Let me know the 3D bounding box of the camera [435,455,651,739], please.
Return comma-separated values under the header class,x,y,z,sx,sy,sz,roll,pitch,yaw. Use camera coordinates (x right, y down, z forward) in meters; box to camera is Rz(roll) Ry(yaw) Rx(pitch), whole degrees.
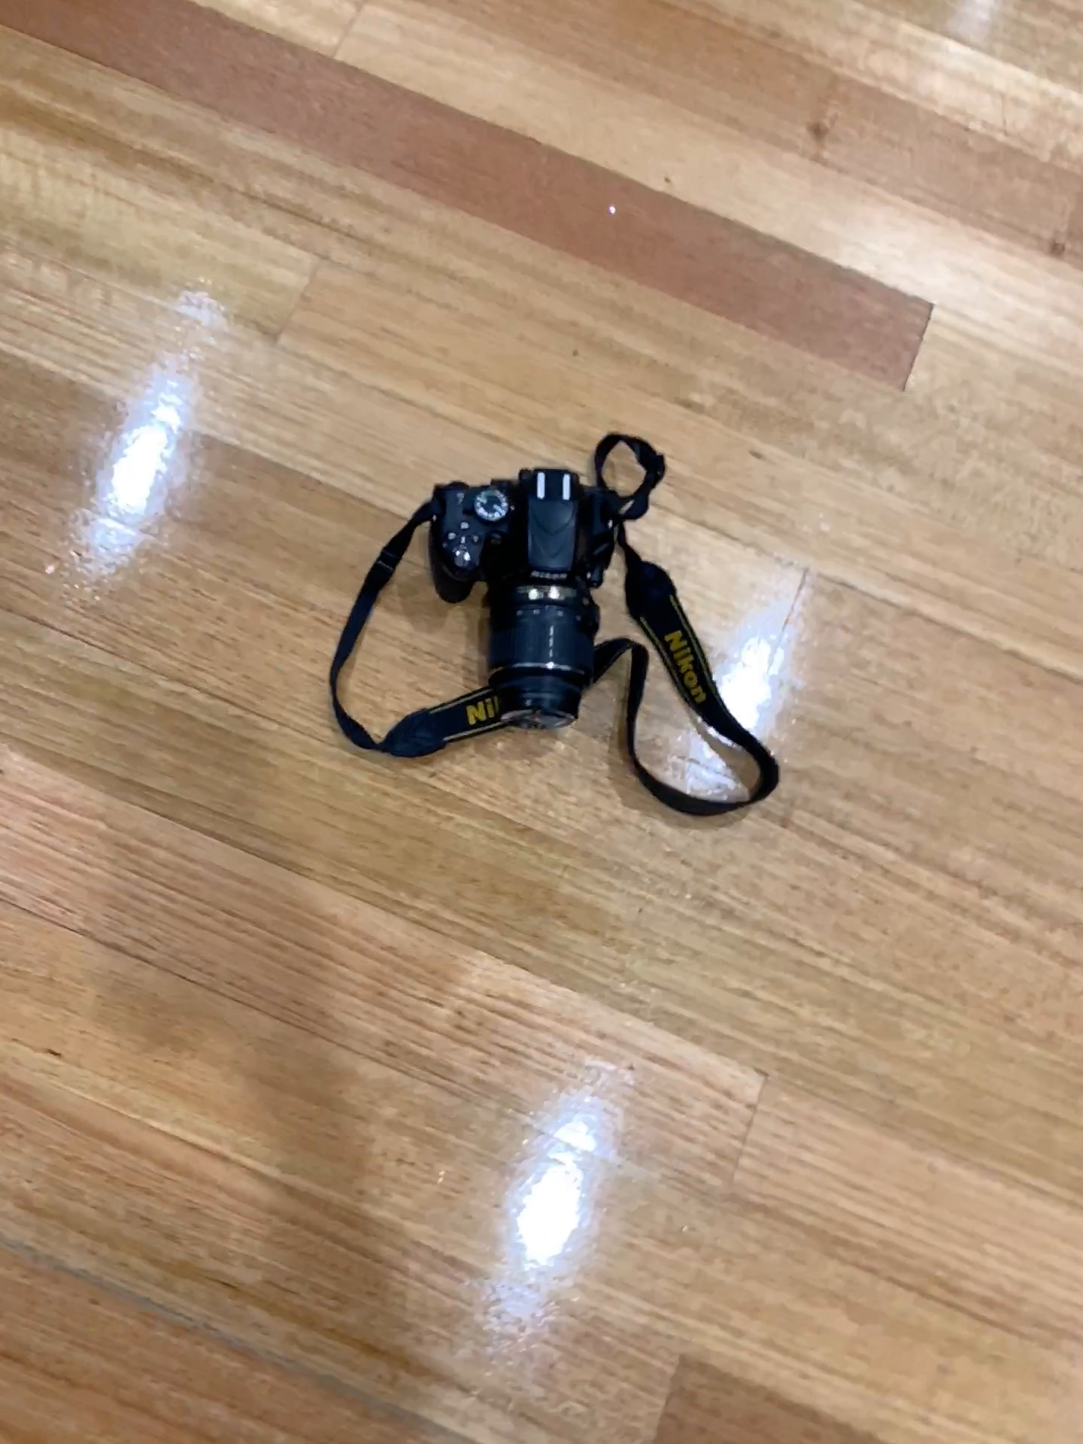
class,x,y,z,sx,sy,sz,roll,pitch,yaw
camera,-0.005,-0.079,0.740,0.130,0.100,0.160,0,75,-5
